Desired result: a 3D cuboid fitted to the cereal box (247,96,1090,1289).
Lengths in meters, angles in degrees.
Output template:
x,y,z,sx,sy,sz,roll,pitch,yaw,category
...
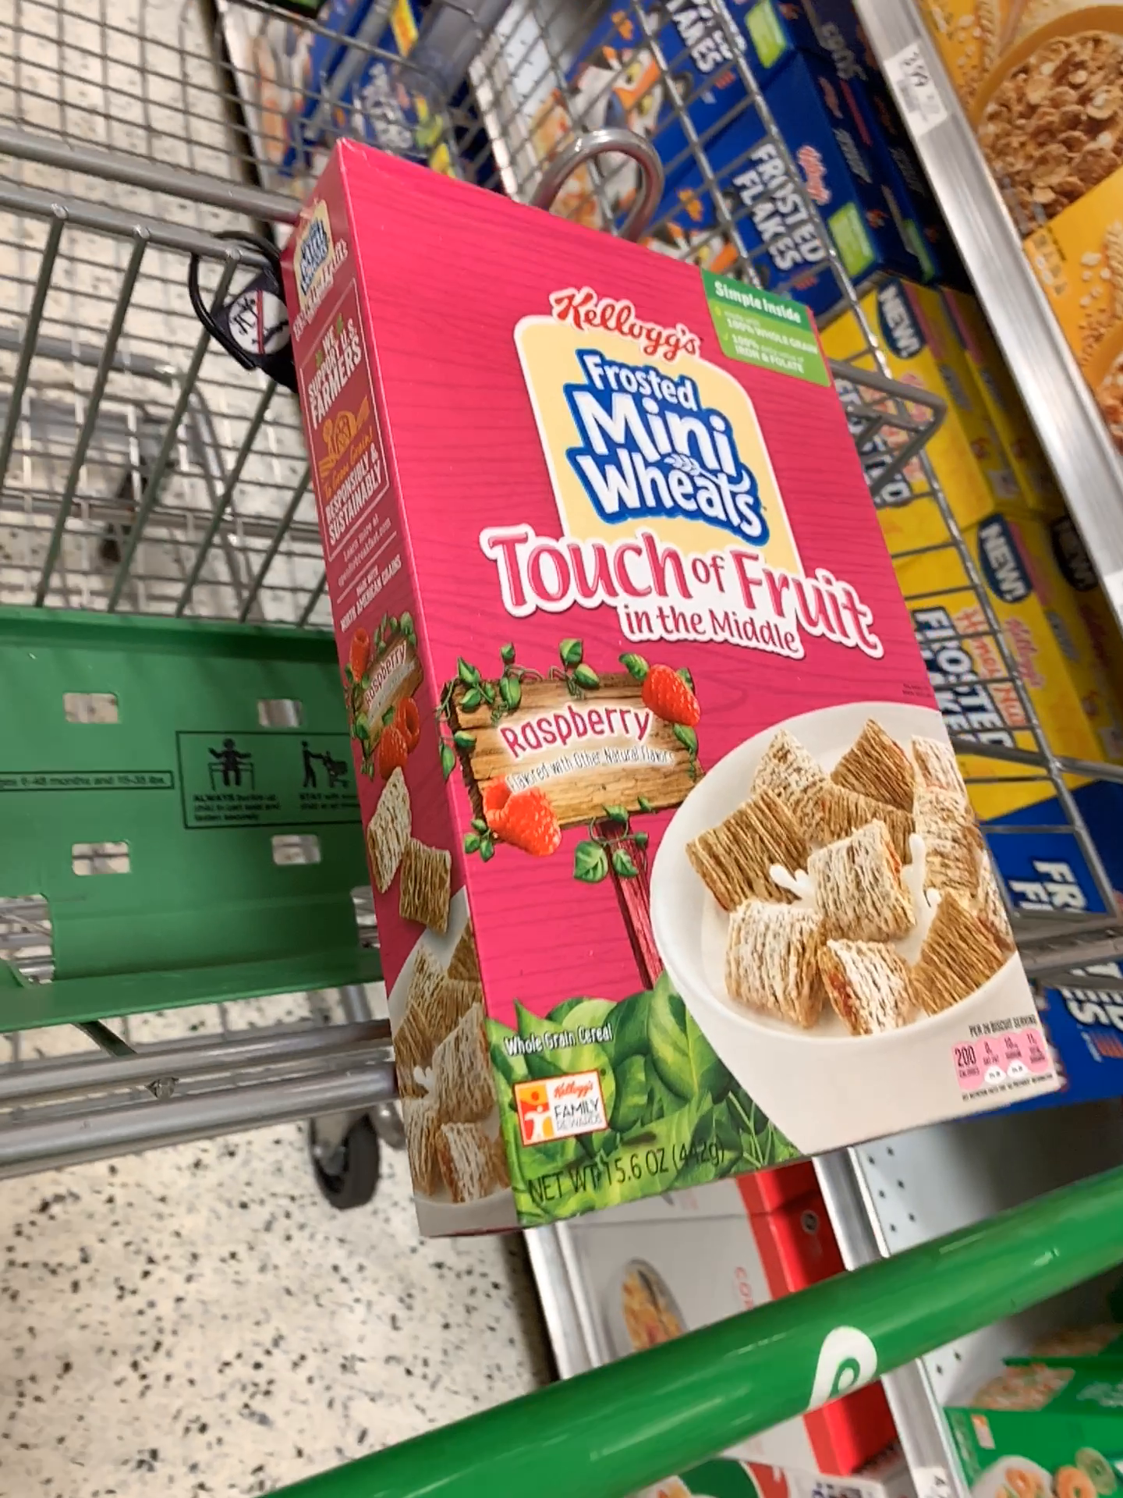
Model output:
x,y,z,sx,sy,sz,roll,pitch,yaw,category
0.030,-0.025,0.339,0.201,0.050,0.291,2,68,-36,cereal box
